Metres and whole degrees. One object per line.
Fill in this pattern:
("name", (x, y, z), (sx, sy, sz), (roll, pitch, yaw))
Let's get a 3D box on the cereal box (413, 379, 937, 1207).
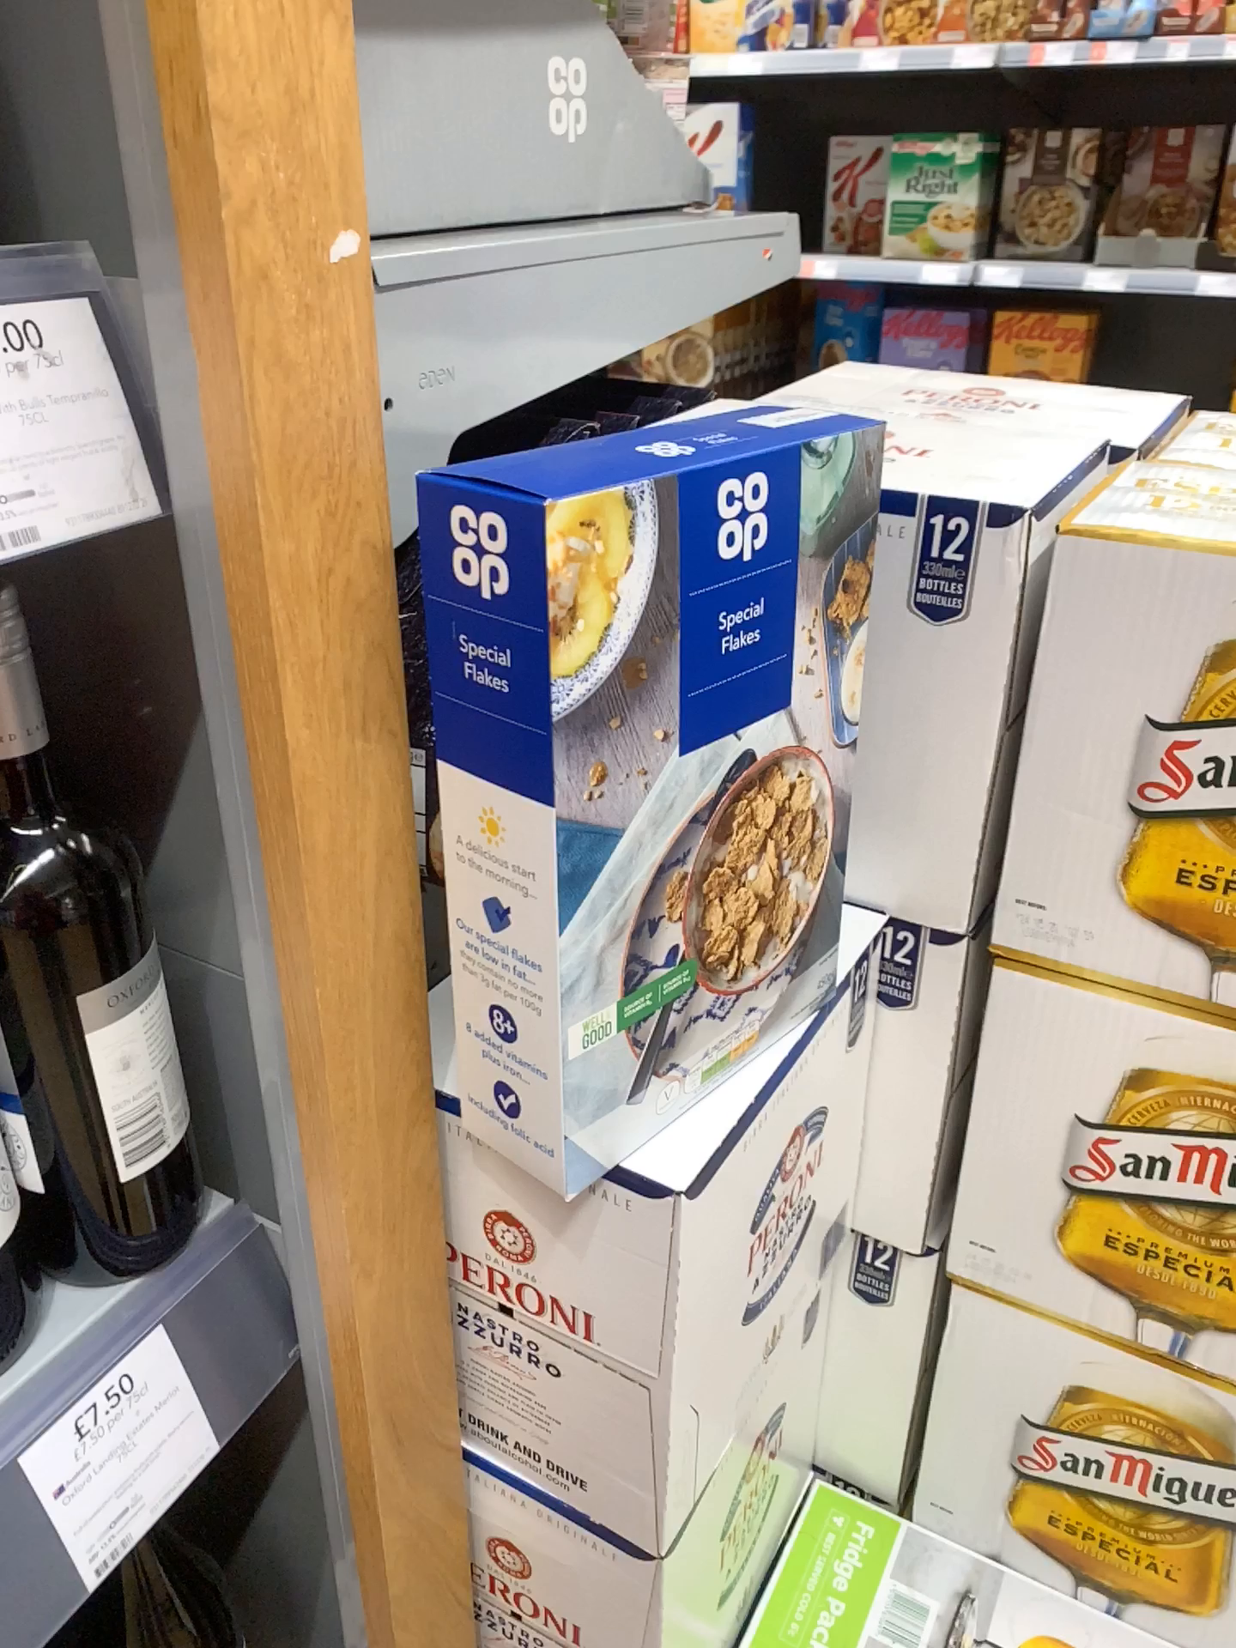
("cereal box", (0.030, -0.021, 0.503), (0.070, 0.268, 0.201), (22, 35, 37))
